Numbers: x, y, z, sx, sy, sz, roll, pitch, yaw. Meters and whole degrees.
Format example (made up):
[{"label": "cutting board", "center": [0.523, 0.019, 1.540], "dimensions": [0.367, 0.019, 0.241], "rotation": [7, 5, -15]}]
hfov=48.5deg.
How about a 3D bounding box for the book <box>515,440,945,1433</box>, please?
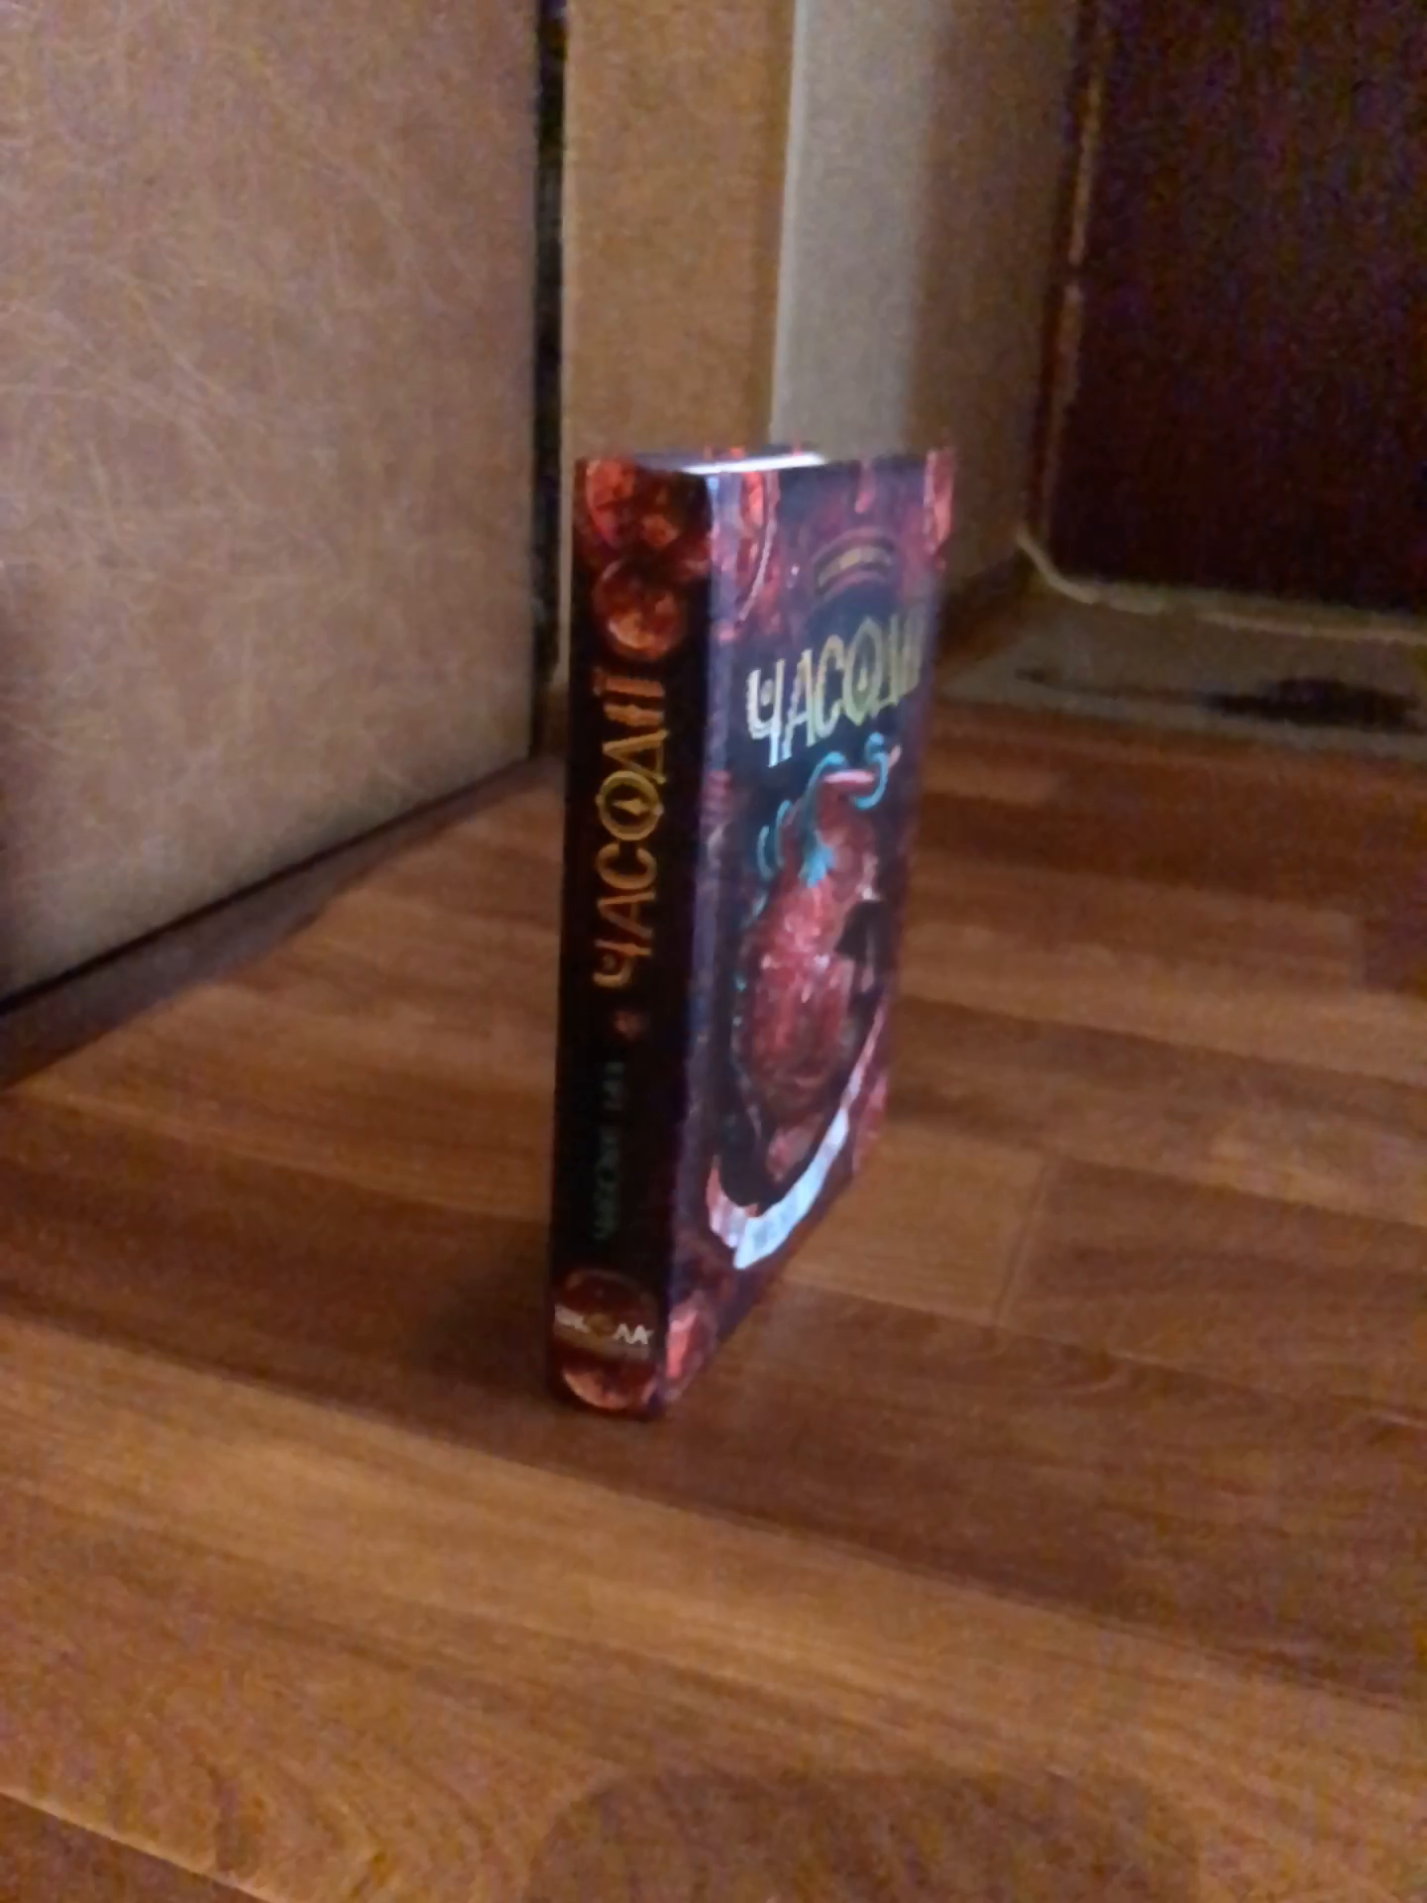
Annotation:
[{"label": "book", "center": [0.009, -0.018, 0.422], "dimensions": [0.040, 0.220, 0.171], "rotation": [11, 21, 20]}]
